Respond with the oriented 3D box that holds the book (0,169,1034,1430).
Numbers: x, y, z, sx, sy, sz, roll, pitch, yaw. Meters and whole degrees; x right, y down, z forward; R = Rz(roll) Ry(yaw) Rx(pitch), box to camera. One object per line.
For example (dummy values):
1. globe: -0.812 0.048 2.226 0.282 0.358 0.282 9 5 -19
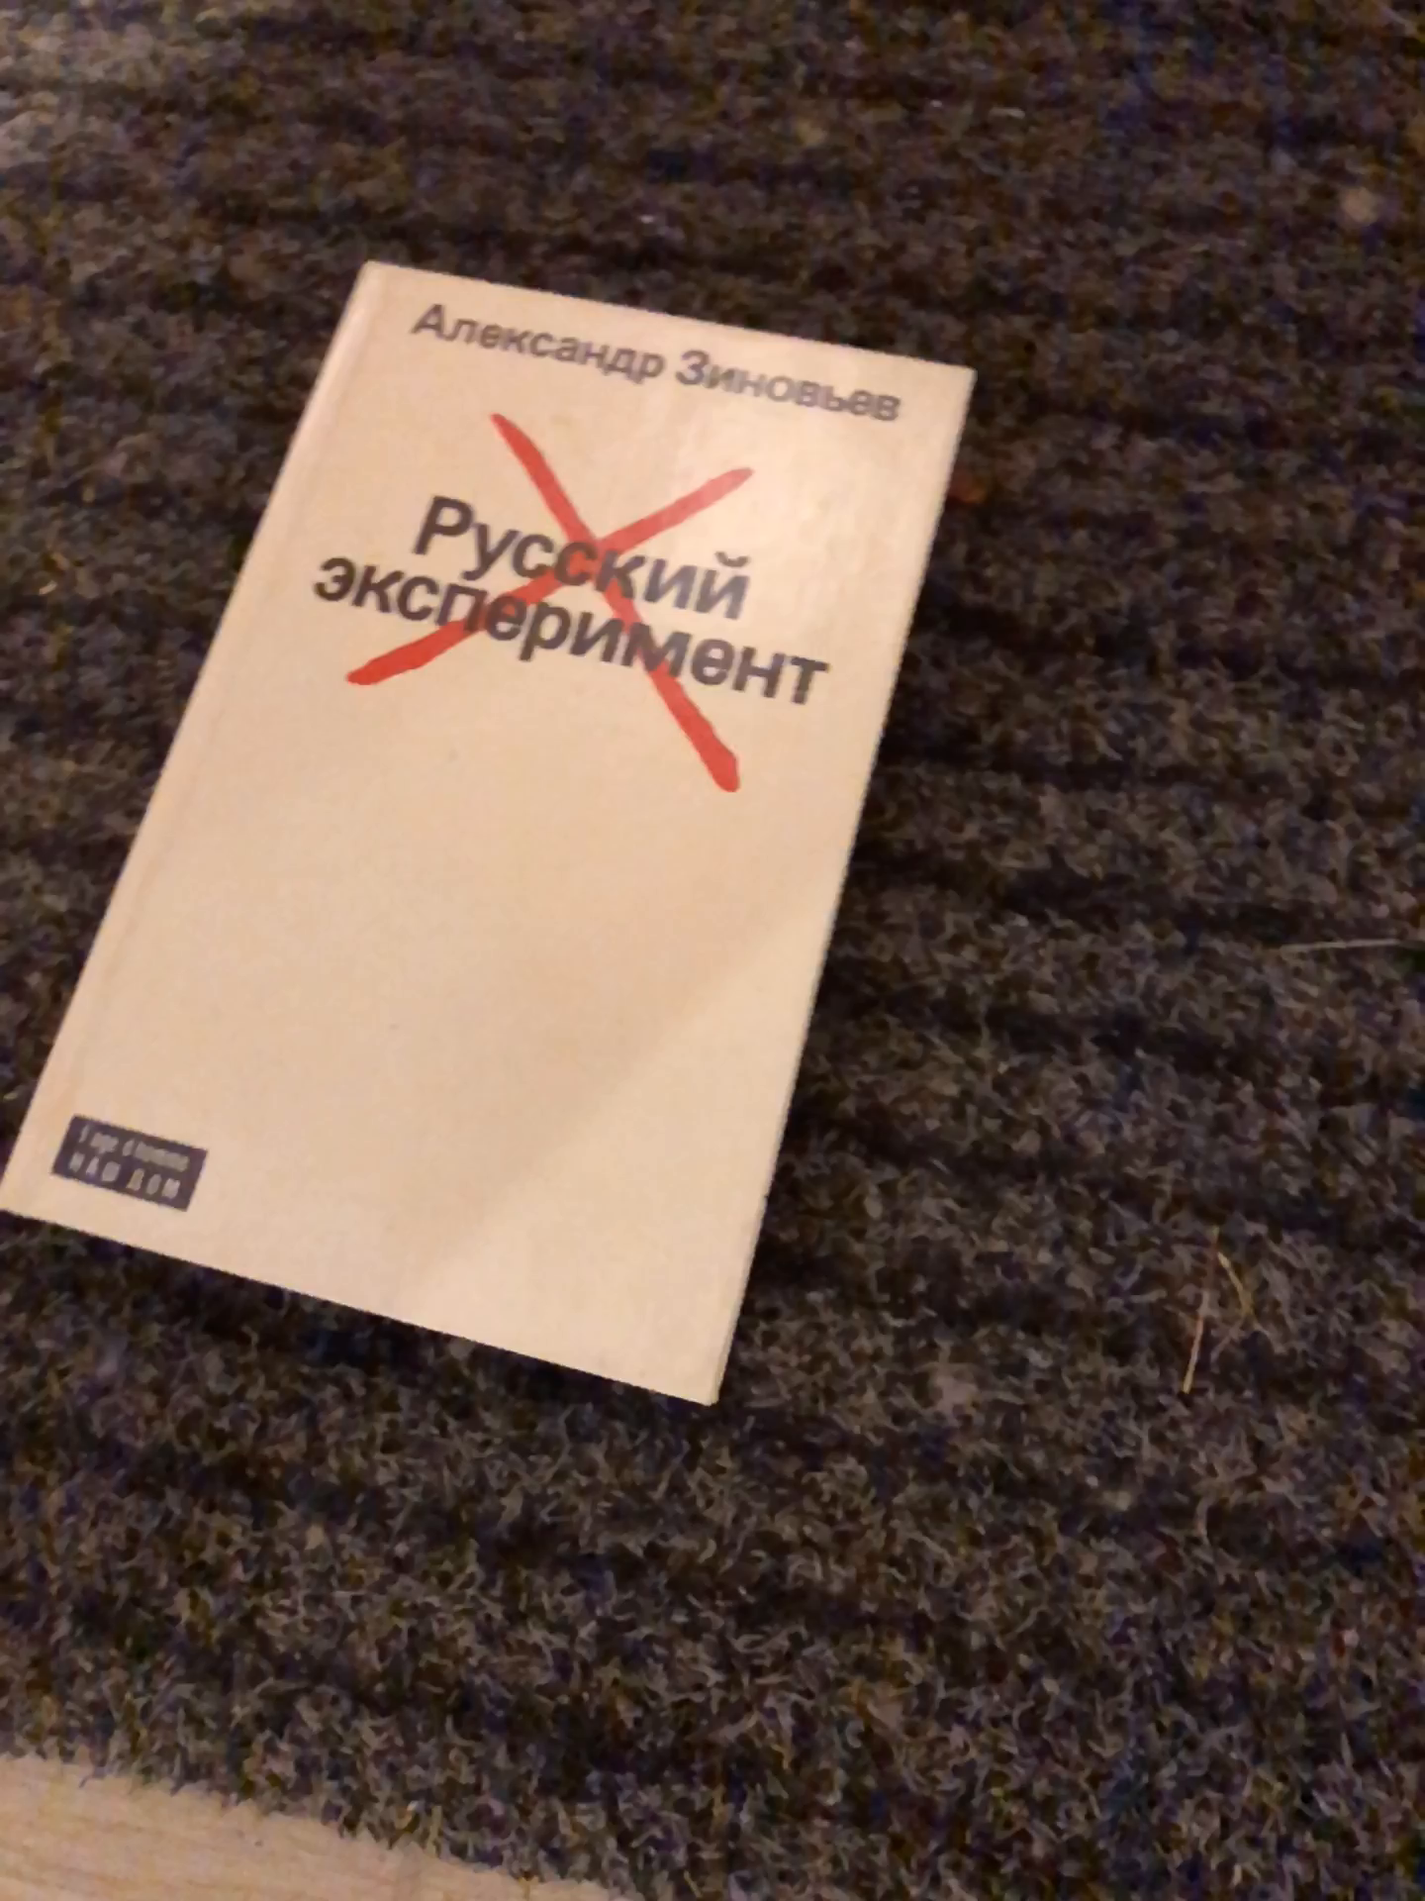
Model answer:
1. book: -0.028 -0.032 0.266 0.120 0.040 0.190 14 73 9
